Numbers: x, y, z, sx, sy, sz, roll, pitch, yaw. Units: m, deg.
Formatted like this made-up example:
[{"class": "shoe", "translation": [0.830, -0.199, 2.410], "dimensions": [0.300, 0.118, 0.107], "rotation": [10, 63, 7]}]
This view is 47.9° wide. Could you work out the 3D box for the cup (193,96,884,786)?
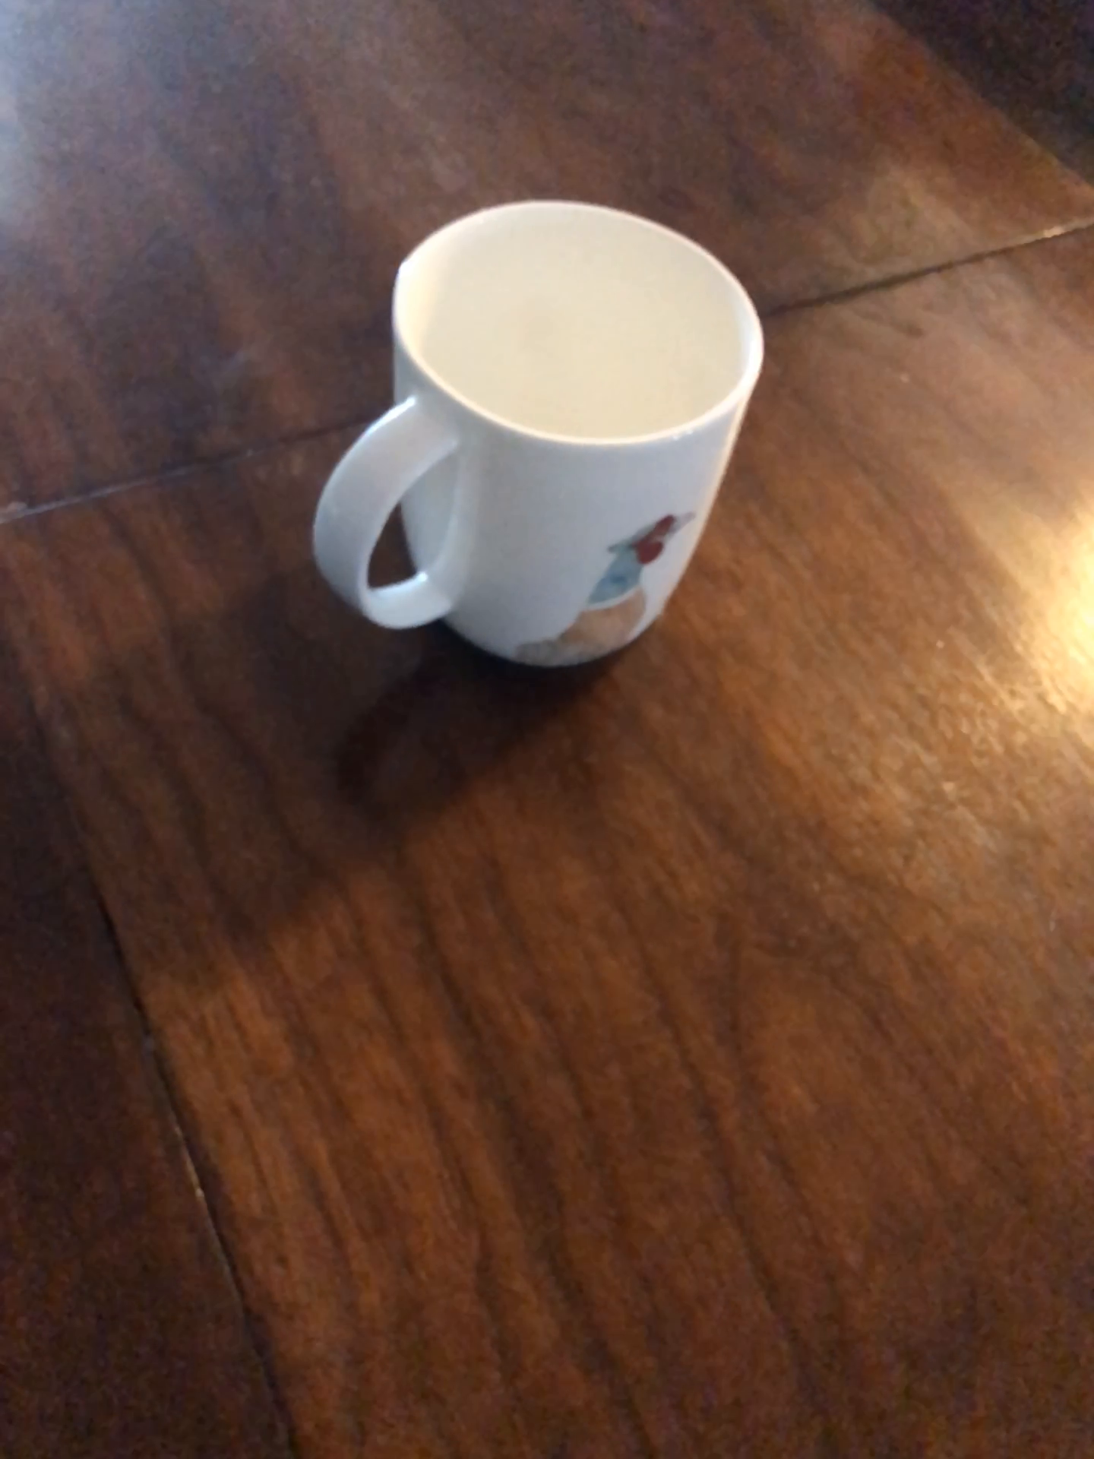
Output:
[{"class": "cup", "translation": [-0.002, -0.075, 0.312], "dimensions": [0.090, 0.090, 0.130], "rotation": [40, 61, 19]}]
